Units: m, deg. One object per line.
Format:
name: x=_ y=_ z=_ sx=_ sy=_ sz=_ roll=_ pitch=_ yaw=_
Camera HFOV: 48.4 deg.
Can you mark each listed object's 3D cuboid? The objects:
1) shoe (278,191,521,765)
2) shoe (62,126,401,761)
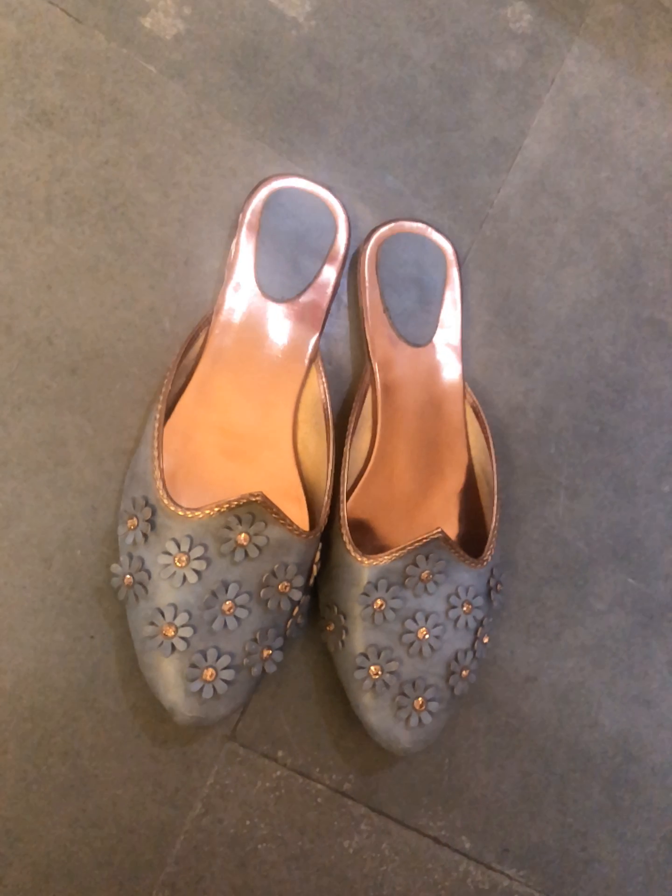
shoe: x=0.036 y=0.014 z=0.384 sx=0.100 sy=0.050 sz=0.270 roll=8 pitch=78 yaw=-17
shoe: x=-0.044 y=-0.005 z=0.354 sx=0.100 sy=0.050 sz=0.270 roll=13 pitch=76 yaw=-16
